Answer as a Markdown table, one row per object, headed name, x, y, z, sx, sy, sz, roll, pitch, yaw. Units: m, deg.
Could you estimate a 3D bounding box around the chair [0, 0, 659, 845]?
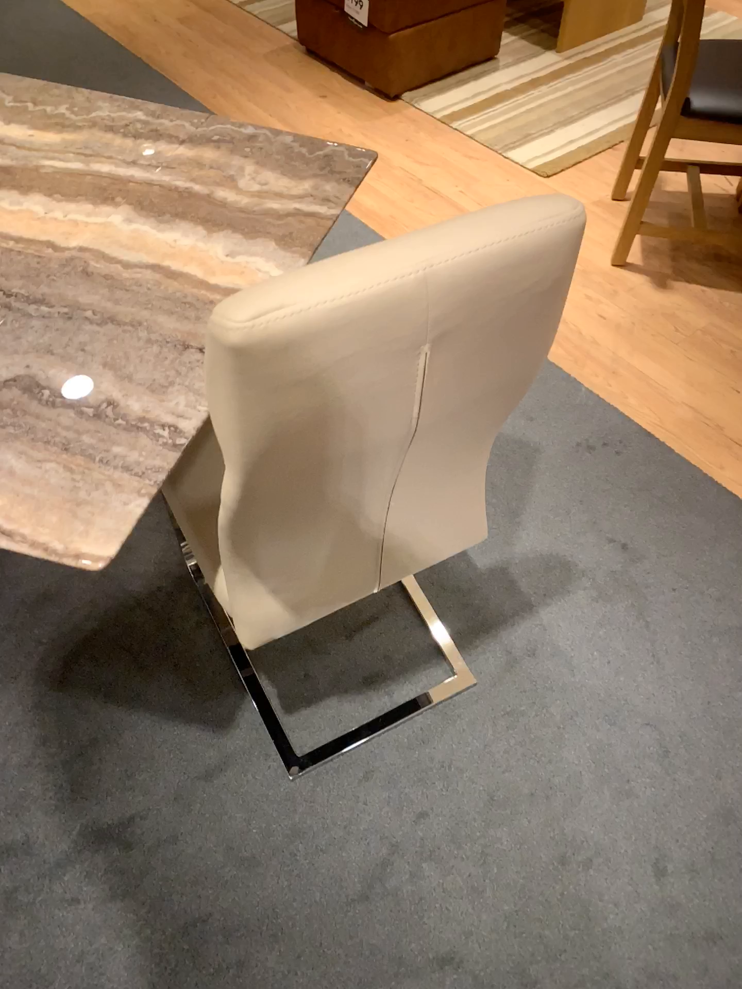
| name | x | y | z | sx | sy | sz | roll | pitch | yaw |
| --- | --- | --- | --- | --- | --- | --- | --- | --- | --- |
| chair | -0.118 | -0.031 | 1.046 | 0.475 | 0.974 | 0.573 | -22 | 54 | -16 |
